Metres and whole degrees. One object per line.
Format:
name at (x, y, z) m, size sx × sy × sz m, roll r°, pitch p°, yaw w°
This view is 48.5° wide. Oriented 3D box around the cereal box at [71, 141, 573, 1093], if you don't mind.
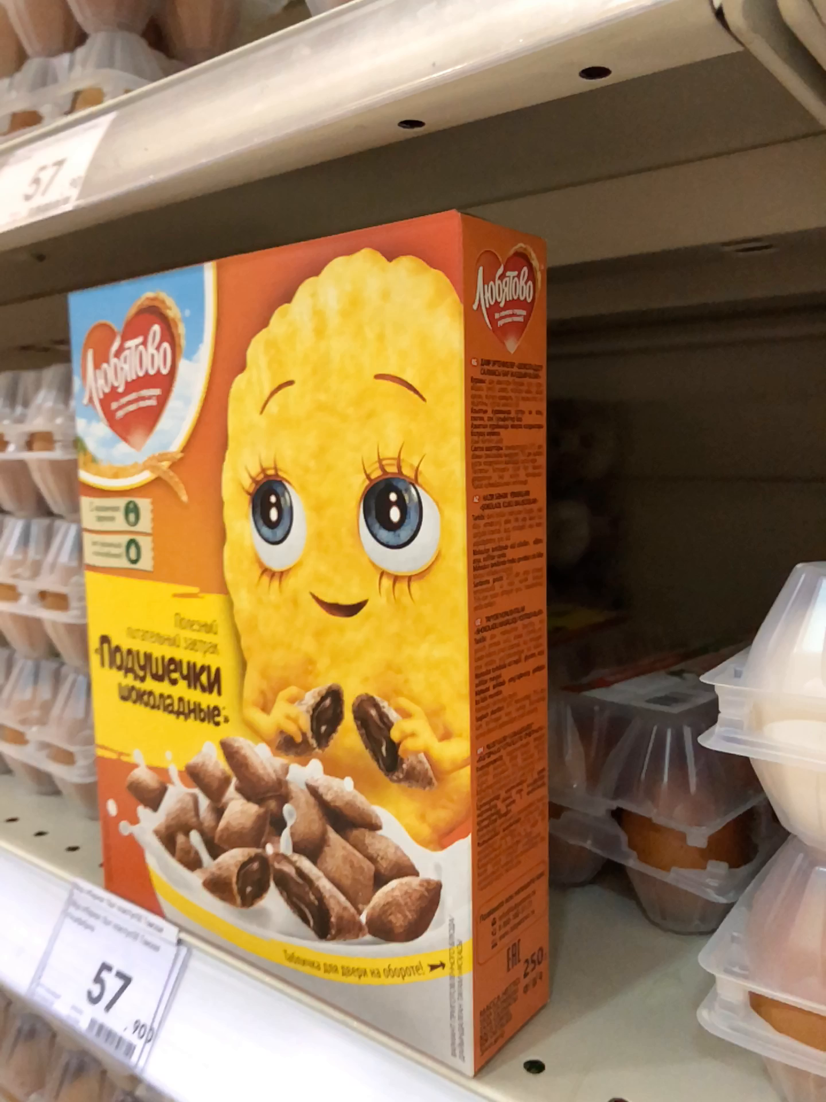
cereal box at (-0.038, 0.015, 0.300) m, size 0.180 × 0.240 × 0.040 m, roll 4°, pitch 8°, yaw 39°
